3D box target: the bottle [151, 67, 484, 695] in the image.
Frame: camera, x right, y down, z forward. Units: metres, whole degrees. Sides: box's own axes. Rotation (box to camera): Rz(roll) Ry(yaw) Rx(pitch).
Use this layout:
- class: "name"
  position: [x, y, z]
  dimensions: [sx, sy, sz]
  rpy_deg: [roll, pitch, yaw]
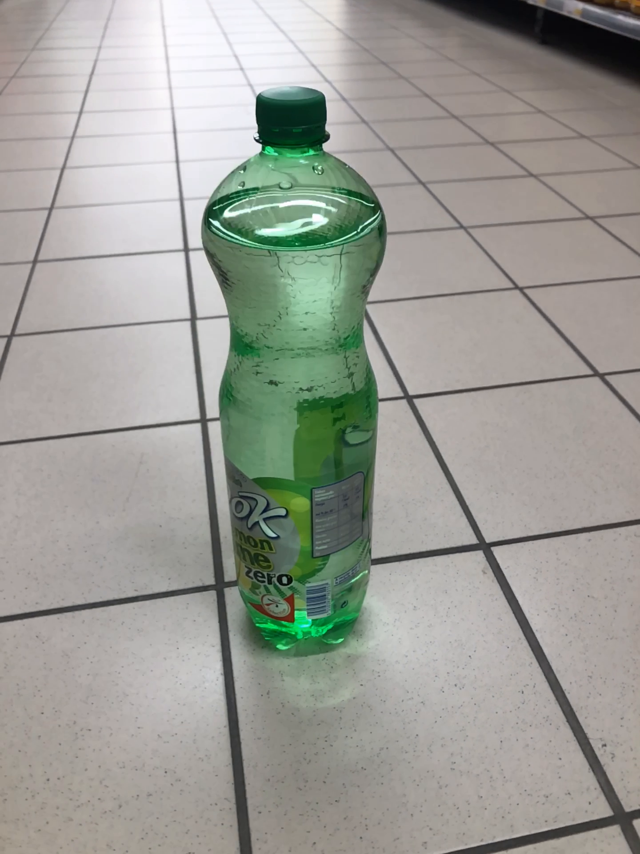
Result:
- class: "bottle"
  position: [-0.004, -0.009, 0.387]
  dimensions: [0.100, 0.318, 0.100]
  rpy_deg: [0, 36, 0]
